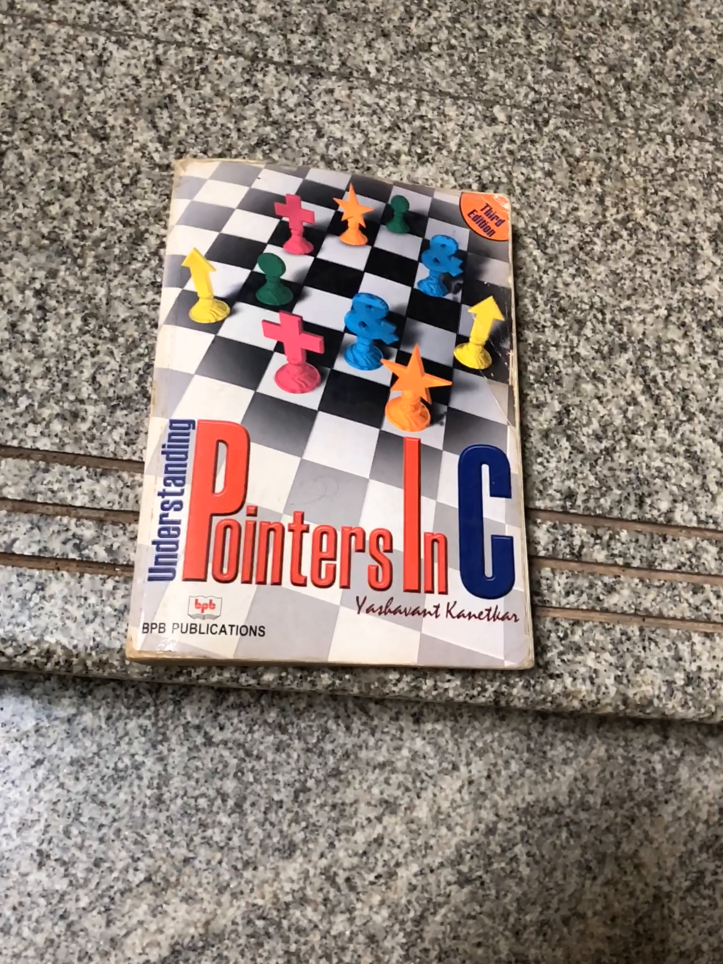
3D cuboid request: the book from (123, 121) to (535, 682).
[{"bbox_3d":[-0.009,-0.036,0.321,0.140,0.030,0.220,4,70,-8],"label":"book"}]
